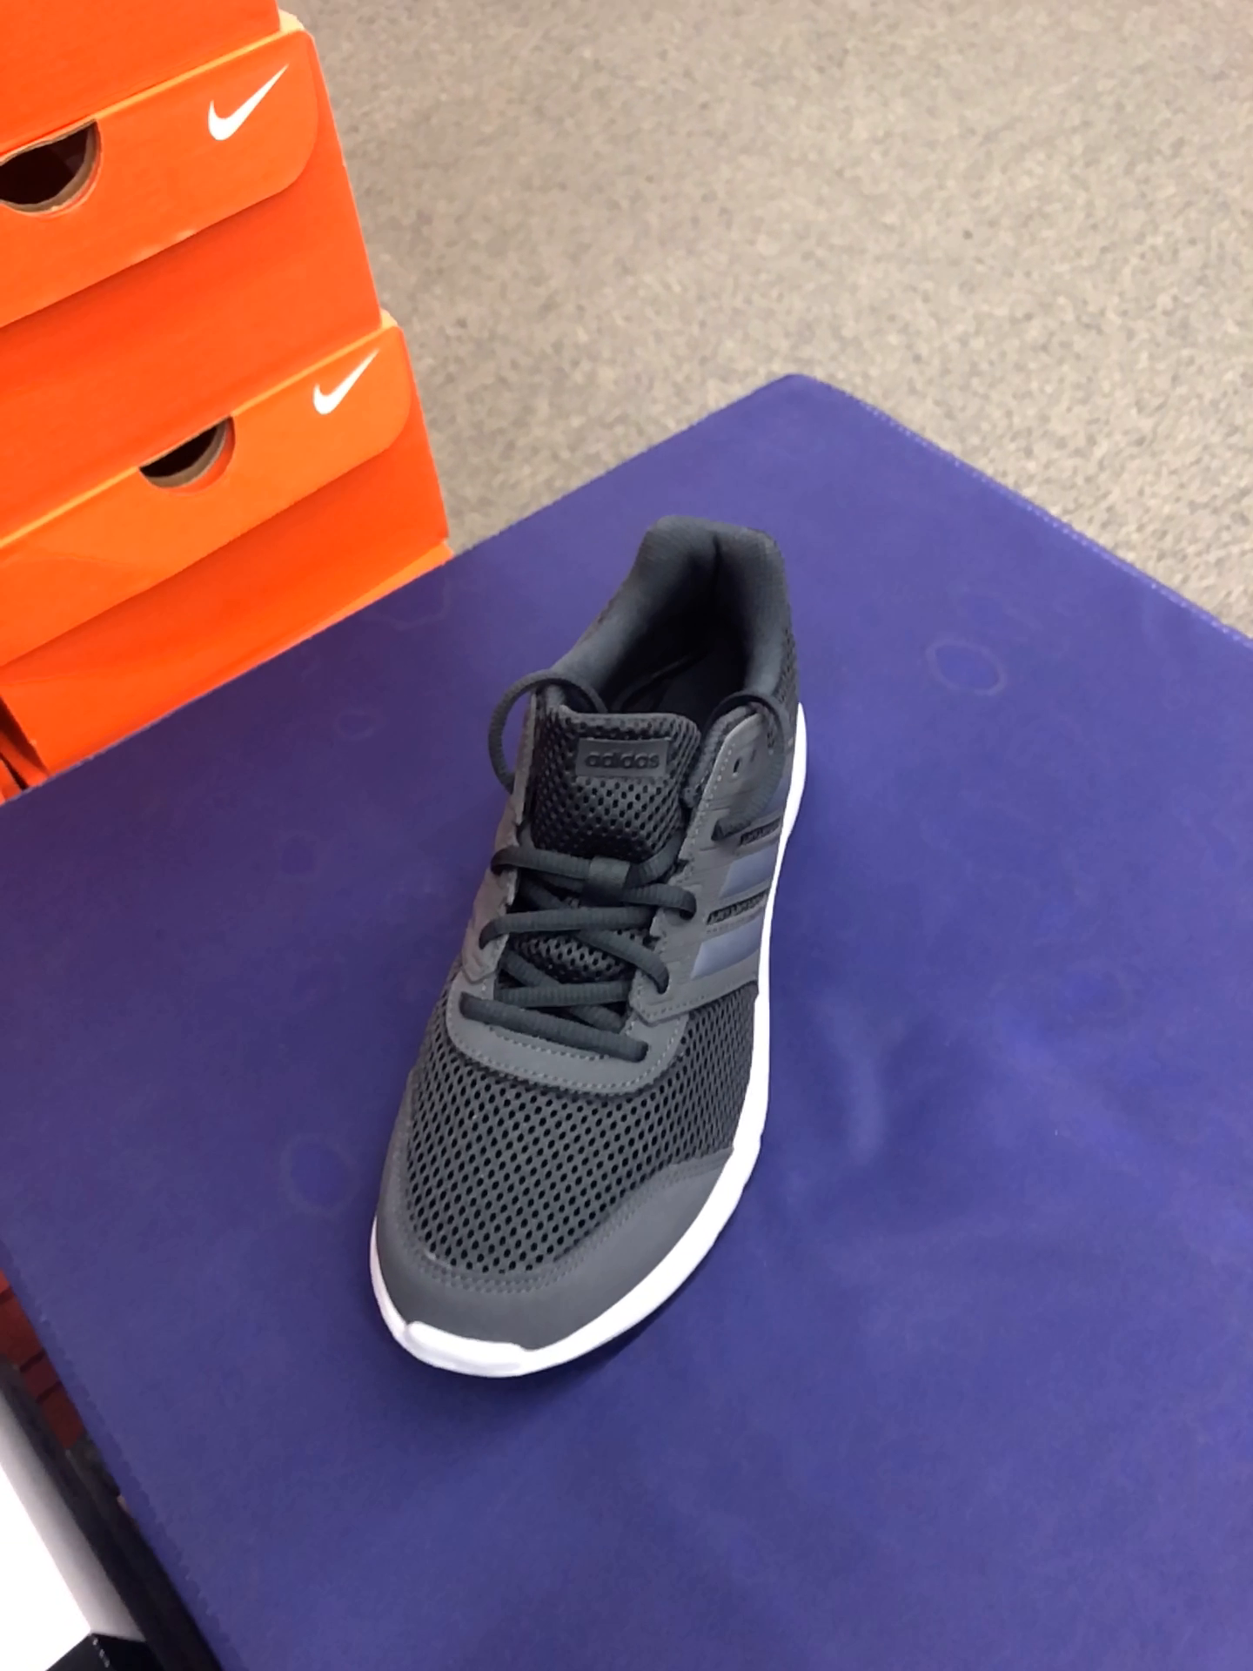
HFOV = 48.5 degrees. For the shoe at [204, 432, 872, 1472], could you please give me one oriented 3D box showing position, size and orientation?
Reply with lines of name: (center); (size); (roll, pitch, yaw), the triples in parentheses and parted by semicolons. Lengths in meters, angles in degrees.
shoe: (-0.003, 0.015, 0.410); (0.101, 0.107, 0.281); (9, 52, 11)
